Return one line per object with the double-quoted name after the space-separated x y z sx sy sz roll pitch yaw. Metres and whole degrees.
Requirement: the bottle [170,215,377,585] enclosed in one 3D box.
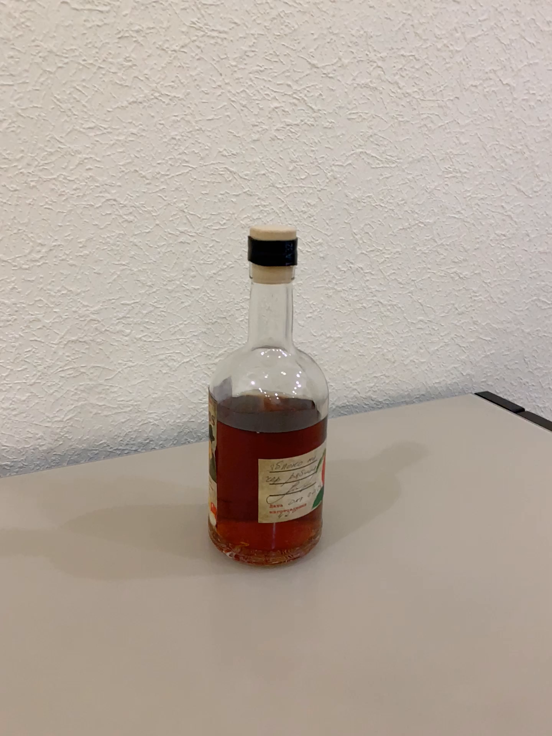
-0.002 0.012 0.359 0.080 0.201 0.090 16 23 38 "bottle"
